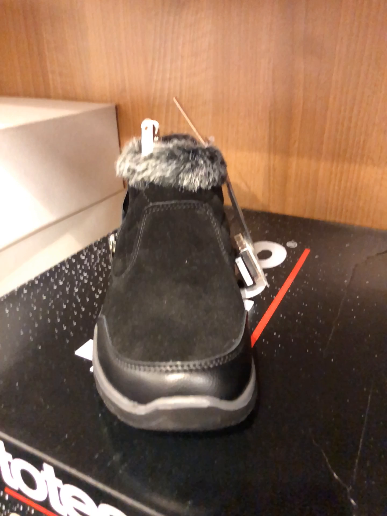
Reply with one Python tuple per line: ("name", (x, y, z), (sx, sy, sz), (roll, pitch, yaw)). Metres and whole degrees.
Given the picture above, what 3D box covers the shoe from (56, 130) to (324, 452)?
("shoe", (-0.009, -0.010, 0.305), (0.105, 0.112, 0.250), (-2, 26, -4))
